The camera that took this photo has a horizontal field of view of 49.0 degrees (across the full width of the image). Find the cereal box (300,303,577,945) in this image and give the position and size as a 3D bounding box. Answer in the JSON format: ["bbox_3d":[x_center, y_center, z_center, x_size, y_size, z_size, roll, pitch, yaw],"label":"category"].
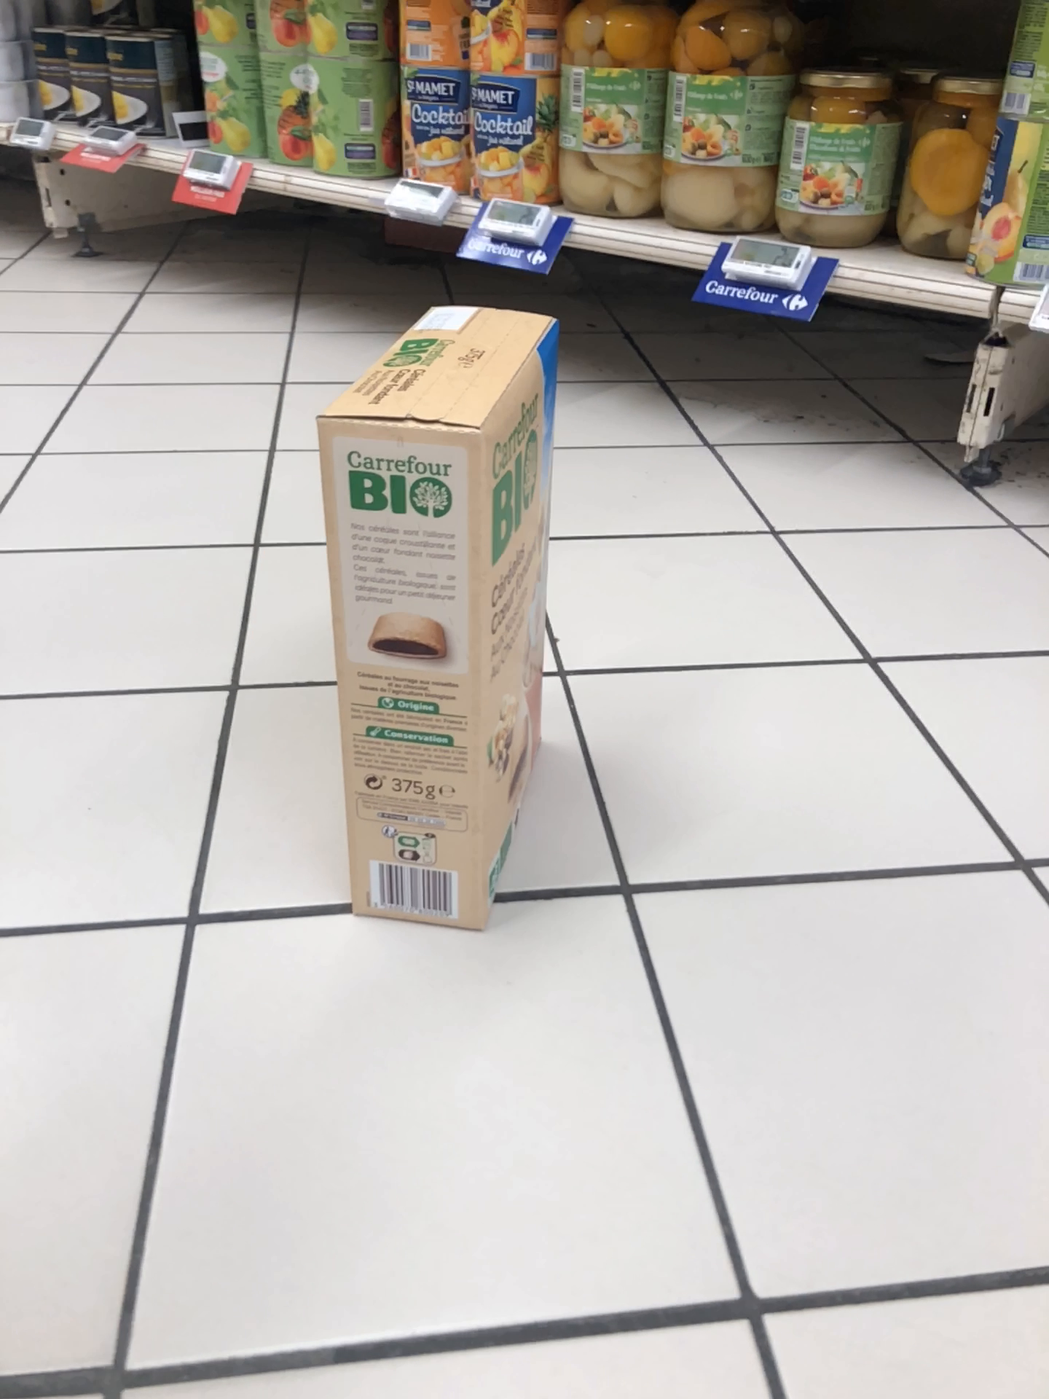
[{"bbox_3d":[-0.030,-0.039,0.517,0.070,0.229,0.171,7,32,8],"label":"cereal box"}]
